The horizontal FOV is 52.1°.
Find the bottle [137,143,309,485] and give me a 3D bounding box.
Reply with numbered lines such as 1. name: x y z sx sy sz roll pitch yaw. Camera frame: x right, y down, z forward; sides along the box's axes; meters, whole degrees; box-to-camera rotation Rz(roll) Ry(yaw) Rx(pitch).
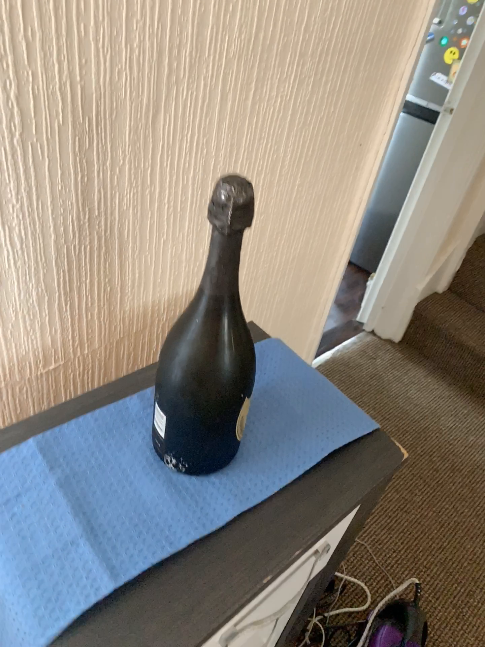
1. bottle: -0.030 0.010 0.449 0.100 0.297 0.101 8 38 -6
